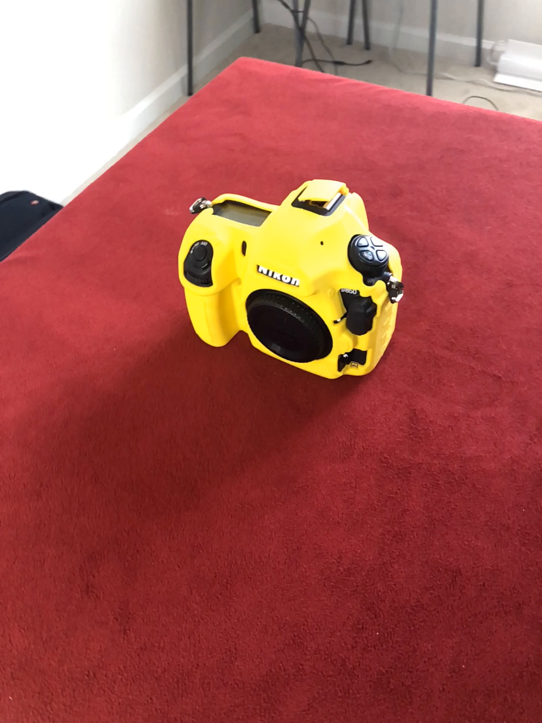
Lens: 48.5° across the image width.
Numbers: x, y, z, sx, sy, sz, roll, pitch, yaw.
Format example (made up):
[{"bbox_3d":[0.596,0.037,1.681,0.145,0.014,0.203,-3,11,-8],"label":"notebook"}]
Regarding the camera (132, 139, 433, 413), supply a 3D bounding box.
[{"bbox_3d":[0.009,-0.058,0.405,0.160,0.116,0.082,22,57,20],"label":"camera"}]
